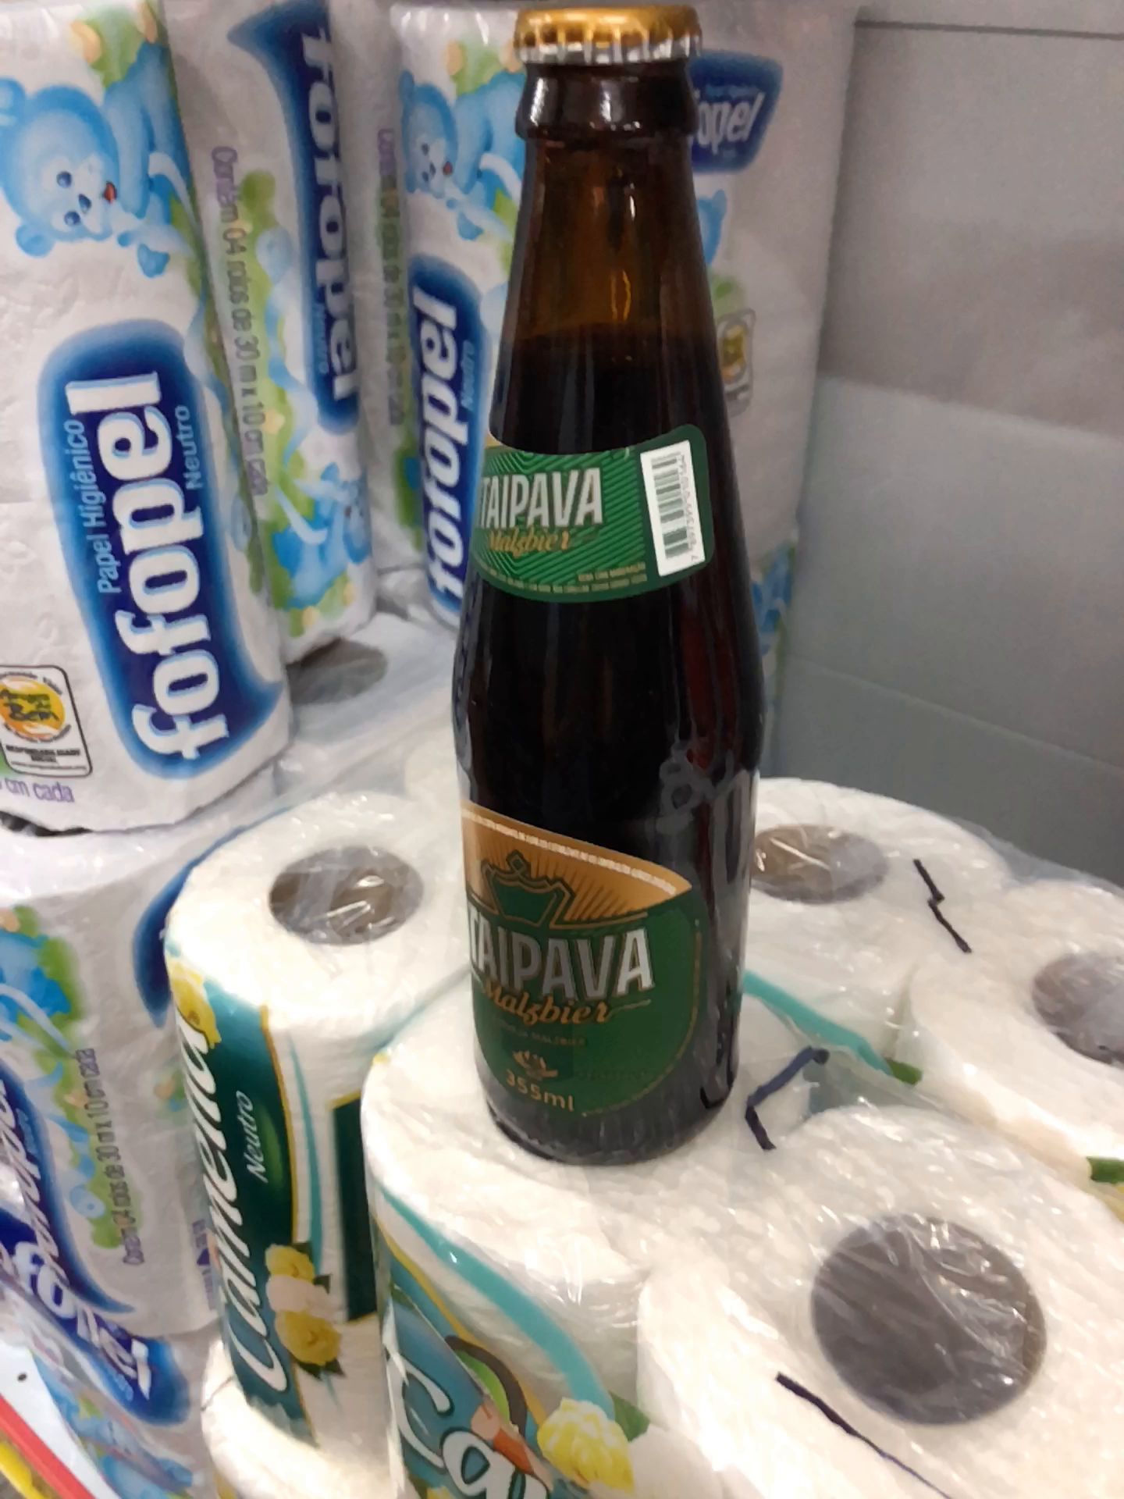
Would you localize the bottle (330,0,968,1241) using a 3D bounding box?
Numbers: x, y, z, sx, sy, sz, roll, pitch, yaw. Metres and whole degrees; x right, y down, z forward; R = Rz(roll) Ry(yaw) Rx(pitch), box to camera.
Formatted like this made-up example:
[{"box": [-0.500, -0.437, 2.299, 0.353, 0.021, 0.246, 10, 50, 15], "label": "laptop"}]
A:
[{"box": [0.015, -0.014, 0.237, 0.070, 0.218, 0.060, 19, 38, 28], "label": "bottle"}]
